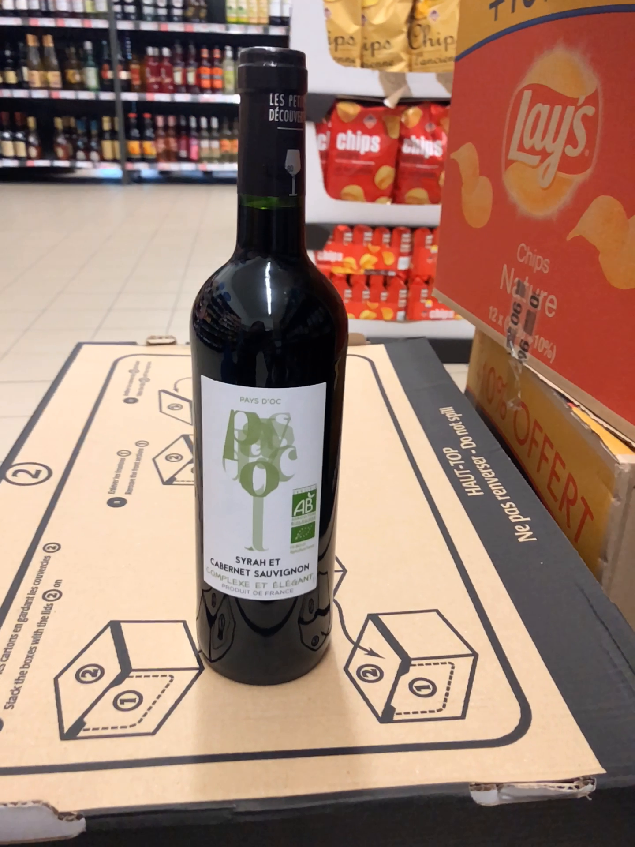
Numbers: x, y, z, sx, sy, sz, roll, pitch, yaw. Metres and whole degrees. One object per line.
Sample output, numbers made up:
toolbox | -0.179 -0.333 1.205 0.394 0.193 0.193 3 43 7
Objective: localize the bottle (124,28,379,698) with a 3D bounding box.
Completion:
bottle | -0.025 -0.015 0.339 0.090 0.298 0.080 2 22 2
